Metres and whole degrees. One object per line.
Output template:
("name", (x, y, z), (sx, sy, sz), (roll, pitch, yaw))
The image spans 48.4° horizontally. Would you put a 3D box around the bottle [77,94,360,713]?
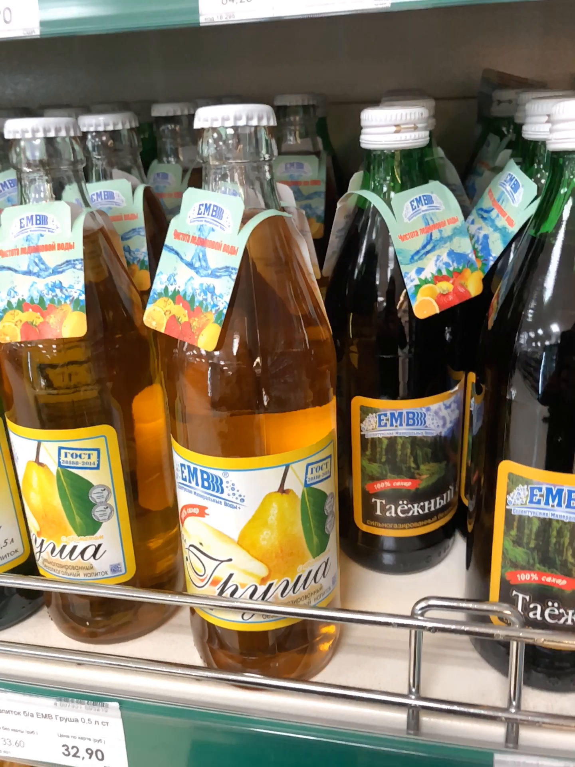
("bottle", (-0.013, 0.014, 0.259), (0.080, 0.234, 0.070), (1, 22, 9))
